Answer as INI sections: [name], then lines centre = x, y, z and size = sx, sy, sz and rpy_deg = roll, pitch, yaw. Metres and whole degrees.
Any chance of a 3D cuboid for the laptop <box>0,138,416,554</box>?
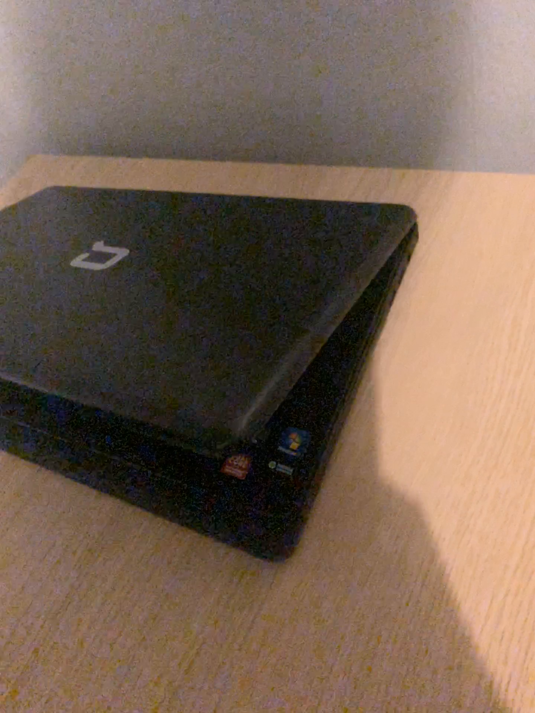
[laptop]
centre = -0.117, -0.045, 0.392
size = 0.374, 0.064, 0.224
rpy_deg = 12, 64, 30
